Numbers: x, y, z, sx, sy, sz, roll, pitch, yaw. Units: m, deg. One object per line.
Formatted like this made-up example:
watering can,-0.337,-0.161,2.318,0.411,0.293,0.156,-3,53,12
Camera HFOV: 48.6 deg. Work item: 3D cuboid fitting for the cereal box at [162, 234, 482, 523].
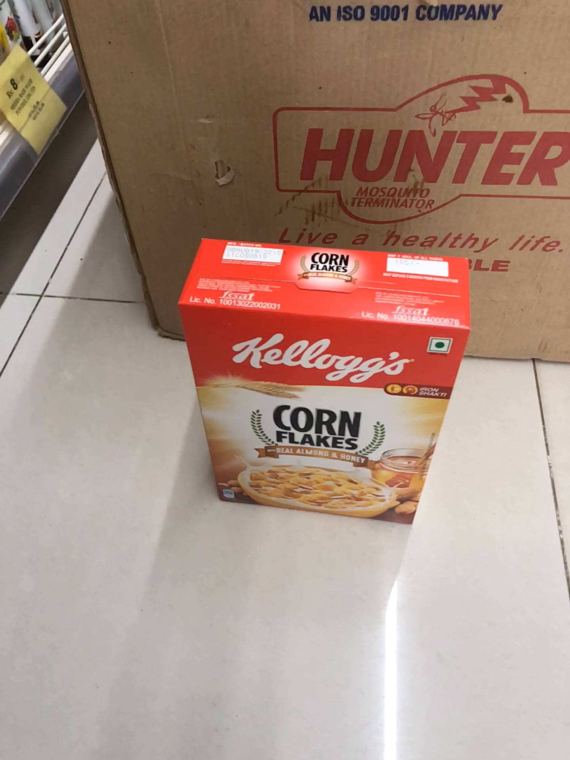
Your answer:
cereal box,0.028,0.014,0.516,0.200,0.259,0.070,6,52,6
